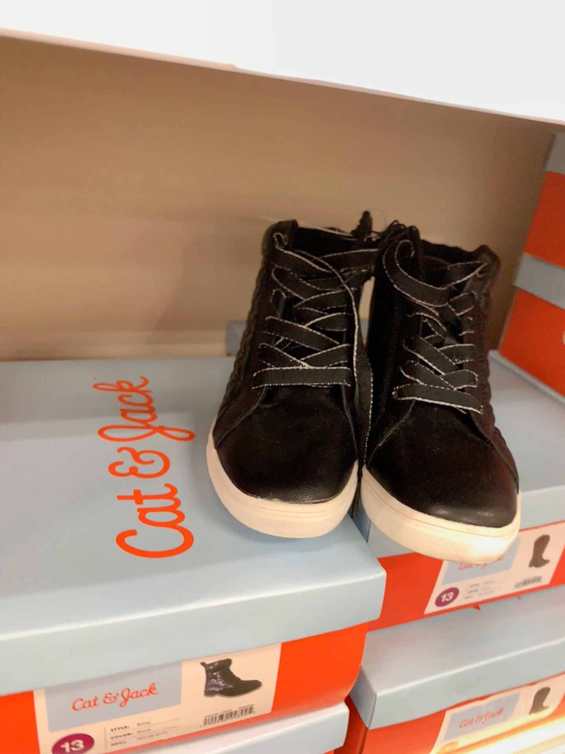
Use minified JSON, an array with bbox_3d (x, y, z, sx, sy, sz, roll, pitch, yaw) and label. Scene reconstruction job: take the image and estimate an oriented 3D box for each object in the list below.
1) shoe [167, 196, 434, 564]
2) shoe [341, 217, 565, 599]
[{"bbox_3d":[0.008,-0.022,0.361,0.100,0.119,0.231,8,27,-1],"label":"shoe"},{"bbox_3d":[0.098,-0.007,0.346,0.100,0.109,0.231,8,27,-1],"label":"shoe"}]
